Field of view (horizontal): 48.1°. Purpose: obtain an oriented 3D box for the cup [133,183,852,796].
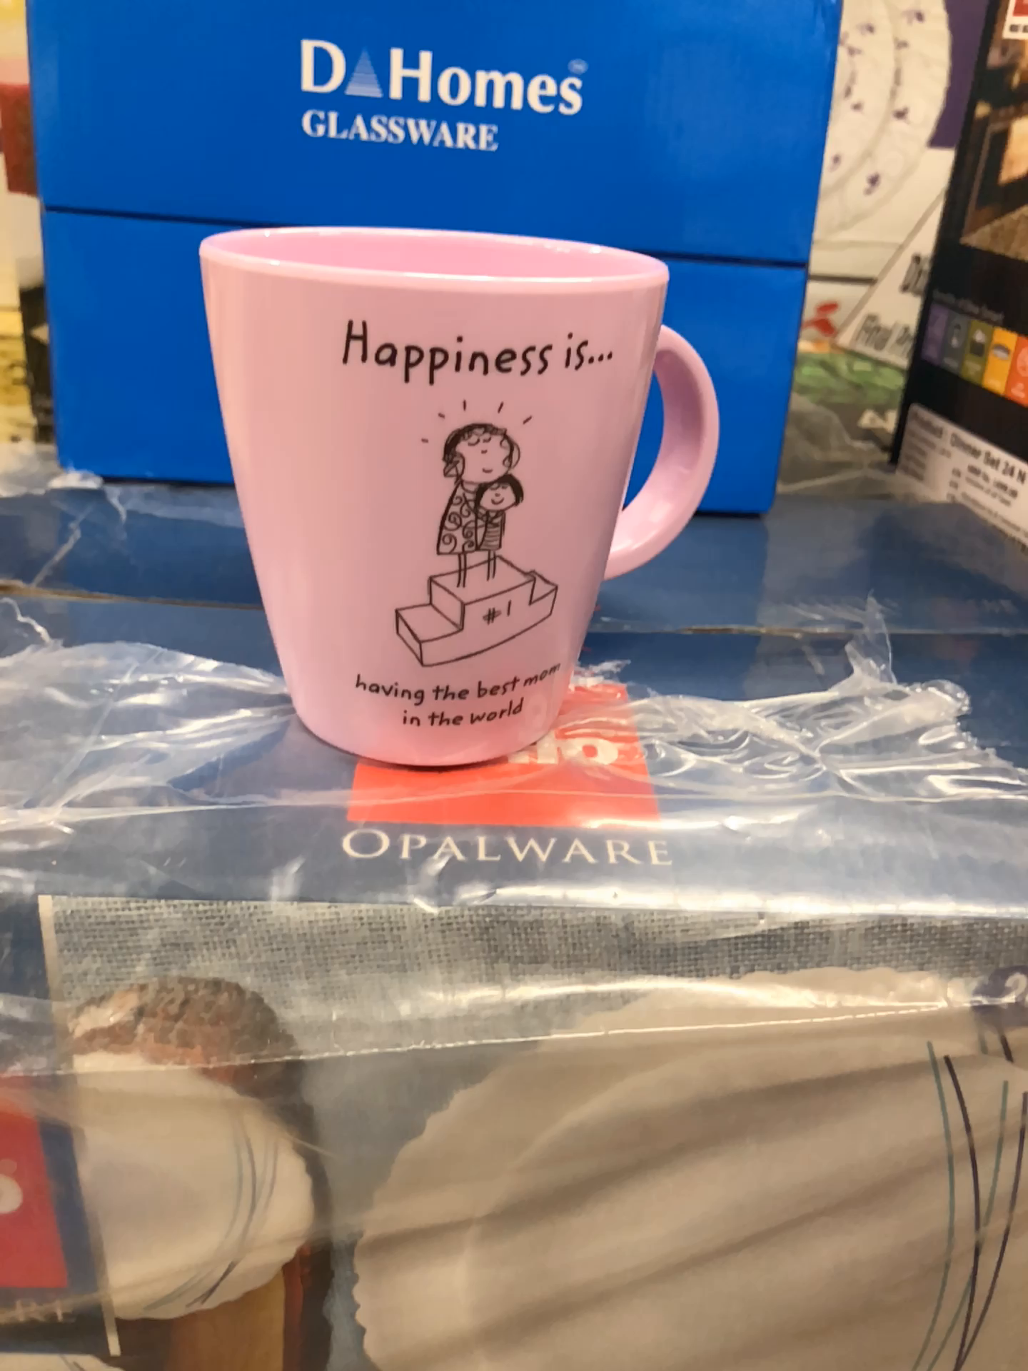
[{"bbox_3d":[-0.012,-0.048,0.236,0.110,0.089,0.090,-7,30,-21],"label":"cup"}]
